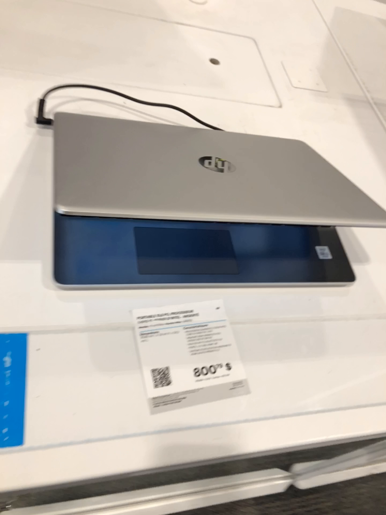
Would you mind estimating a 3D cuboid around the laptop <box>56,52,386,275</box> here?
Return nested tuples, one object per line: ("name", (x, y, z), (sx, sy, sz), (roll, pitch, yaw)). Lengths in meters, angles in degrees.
("laptop", (0.027, -0.100, 0.487), (0.342, 0.086, 0.229), (1, 57, -17))
